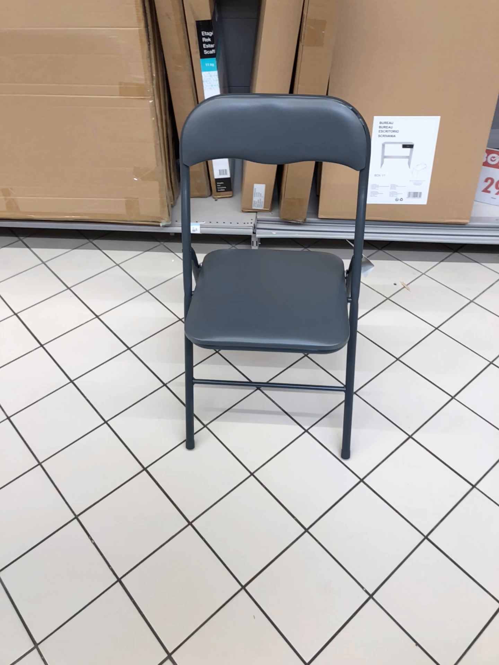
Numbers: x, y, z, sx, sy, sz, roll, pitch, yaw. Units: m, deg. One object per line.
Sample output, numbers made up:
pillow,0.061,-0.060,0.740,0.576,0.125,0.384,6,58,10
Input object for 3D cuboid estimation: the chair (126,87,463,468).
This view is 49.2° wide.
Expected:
chair,0.087,-0.108,1.336,0.550,0.756,0.503,3,45,3
